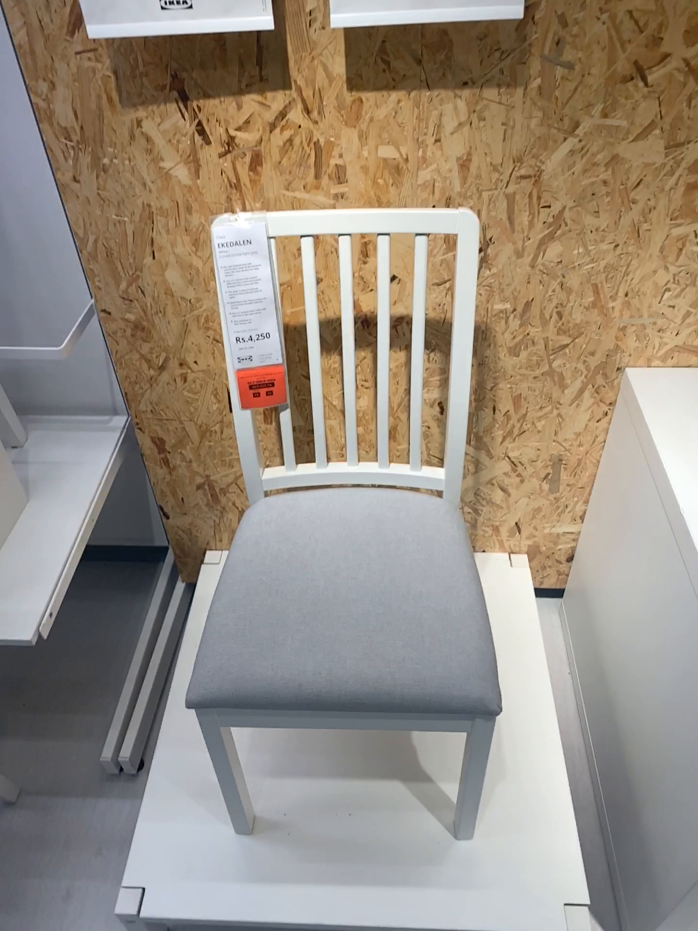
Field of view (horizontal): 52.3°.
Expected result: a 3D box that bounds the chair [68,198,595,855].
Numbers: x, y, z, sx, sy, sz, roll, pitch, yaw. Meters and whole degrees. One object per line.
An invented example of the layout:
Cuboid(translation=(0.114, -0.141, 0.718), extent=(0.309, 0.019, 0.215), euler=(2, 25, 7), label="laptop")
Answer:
Cuboid(translation=(0.011, 0.158, 1.108), extent=(0.450, 0.956, 0.492), euler=(1, 43, 4), label="chair")
